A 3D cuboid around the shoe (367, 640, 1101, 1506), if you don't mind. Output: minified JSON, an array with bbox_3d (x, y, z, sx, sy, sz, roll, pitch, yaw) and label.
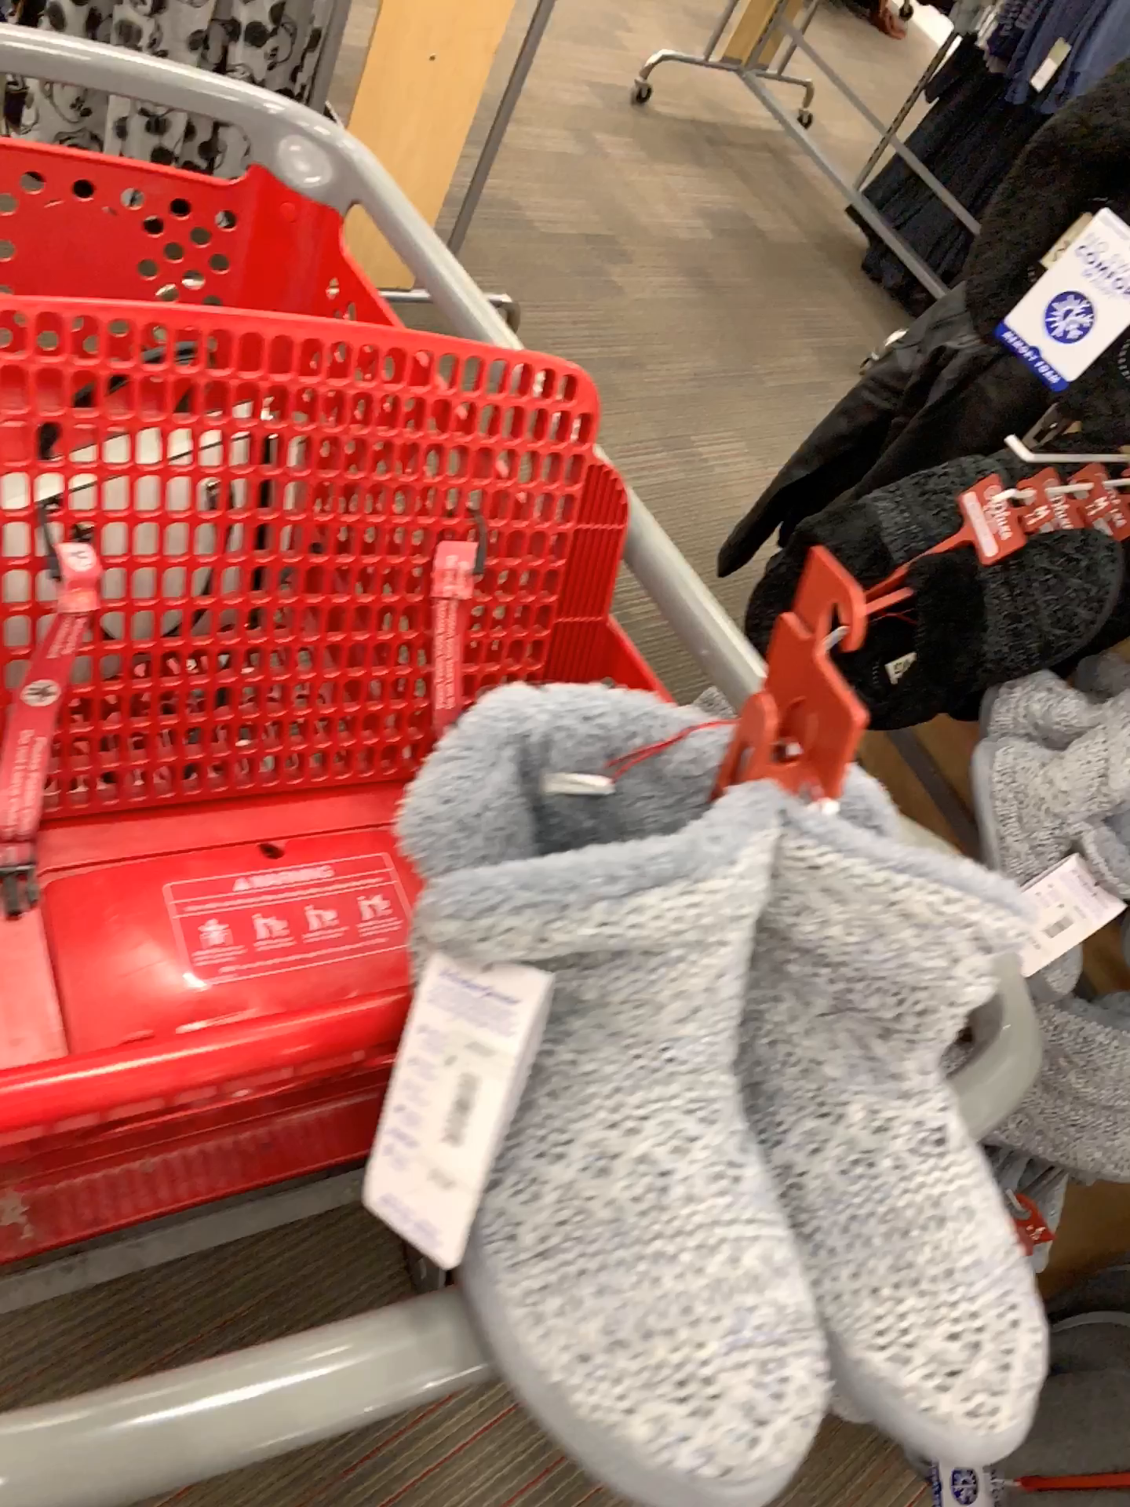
[{"bbox_3d":[0.030,0.103,0.394,0.110,0.139,0.250,0,51,-29],"label":"shoe"}]

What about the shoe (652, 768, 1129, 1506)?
[{"bbox_3d":[0.144,0.134,0.430,0.110,0.119,0.230,0,51,-29],"label":"shoe"}]
